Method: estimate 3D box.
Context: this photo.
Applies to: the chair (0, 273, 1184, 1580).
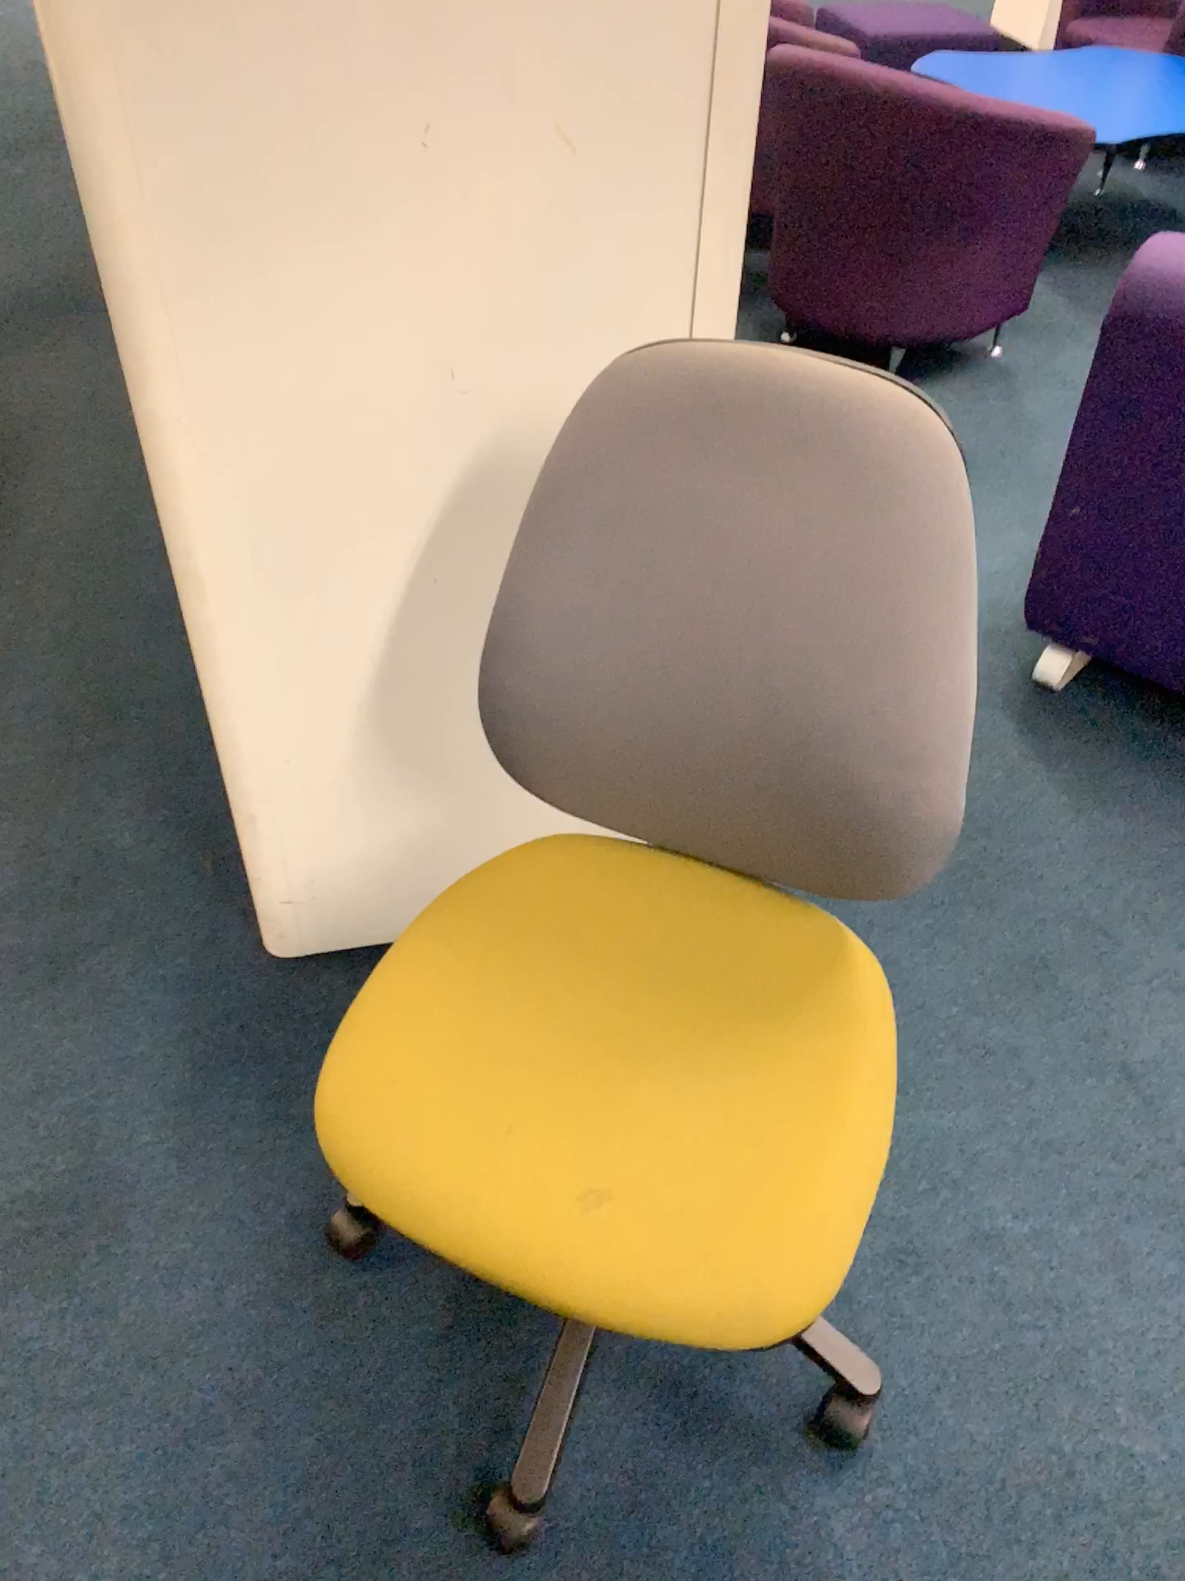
[{"bbox_3d":[0.041,0.184,1.043,0.641,0.921,0.666,17,44,15],"label":"chair"}]
